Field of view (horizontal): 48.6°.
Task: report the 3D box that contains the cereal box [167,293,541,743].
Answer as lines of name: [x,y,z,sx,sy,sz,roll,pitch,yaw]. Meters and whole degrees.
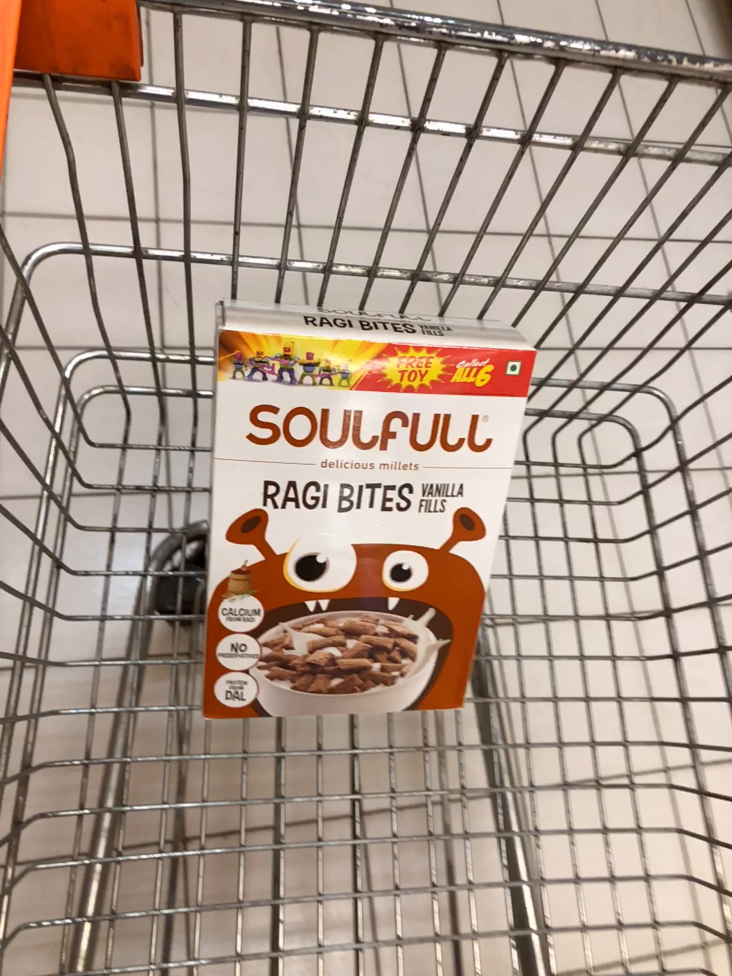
cereal box: [-0.021,0.025,0.478,0.180,0.249,0.070,1,26,-15]
